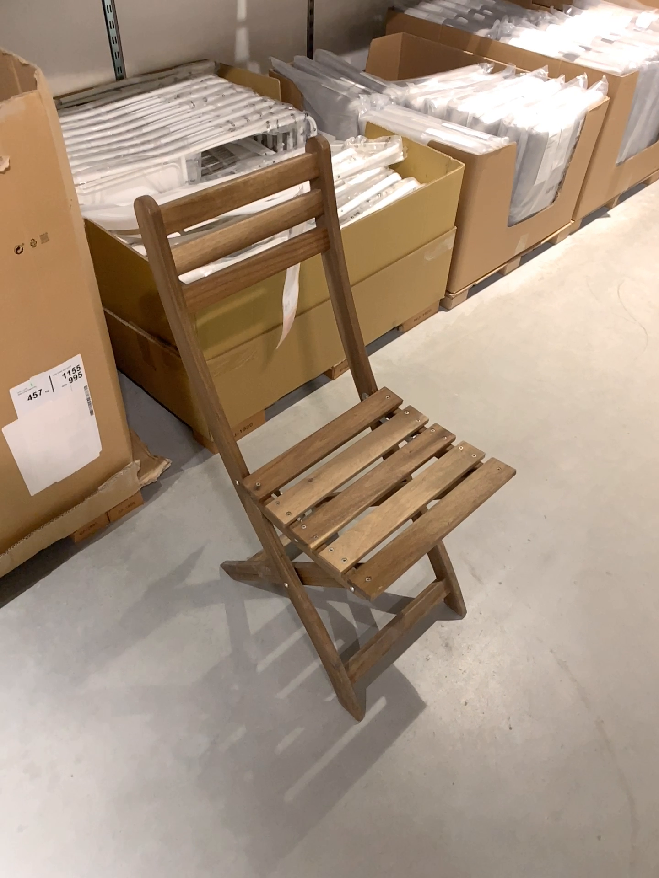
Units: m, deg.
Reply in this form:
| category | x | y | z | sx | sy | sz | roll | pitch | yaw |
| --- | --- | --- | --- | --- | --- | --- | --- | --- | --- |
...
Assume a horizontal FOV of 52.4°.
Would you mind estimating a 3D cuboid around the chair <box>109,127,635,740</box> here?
| category | x | y | z | sx | sy | sz | roll | pitch | yaw |
| --- | --- | --- | --- | --- | --- | --- | --- | --- | --- |
| chair | 0.032 | 0.011 | 1.093 | 0.511 | 0.767 | 0.401 | 36 | 54 | 29 |
